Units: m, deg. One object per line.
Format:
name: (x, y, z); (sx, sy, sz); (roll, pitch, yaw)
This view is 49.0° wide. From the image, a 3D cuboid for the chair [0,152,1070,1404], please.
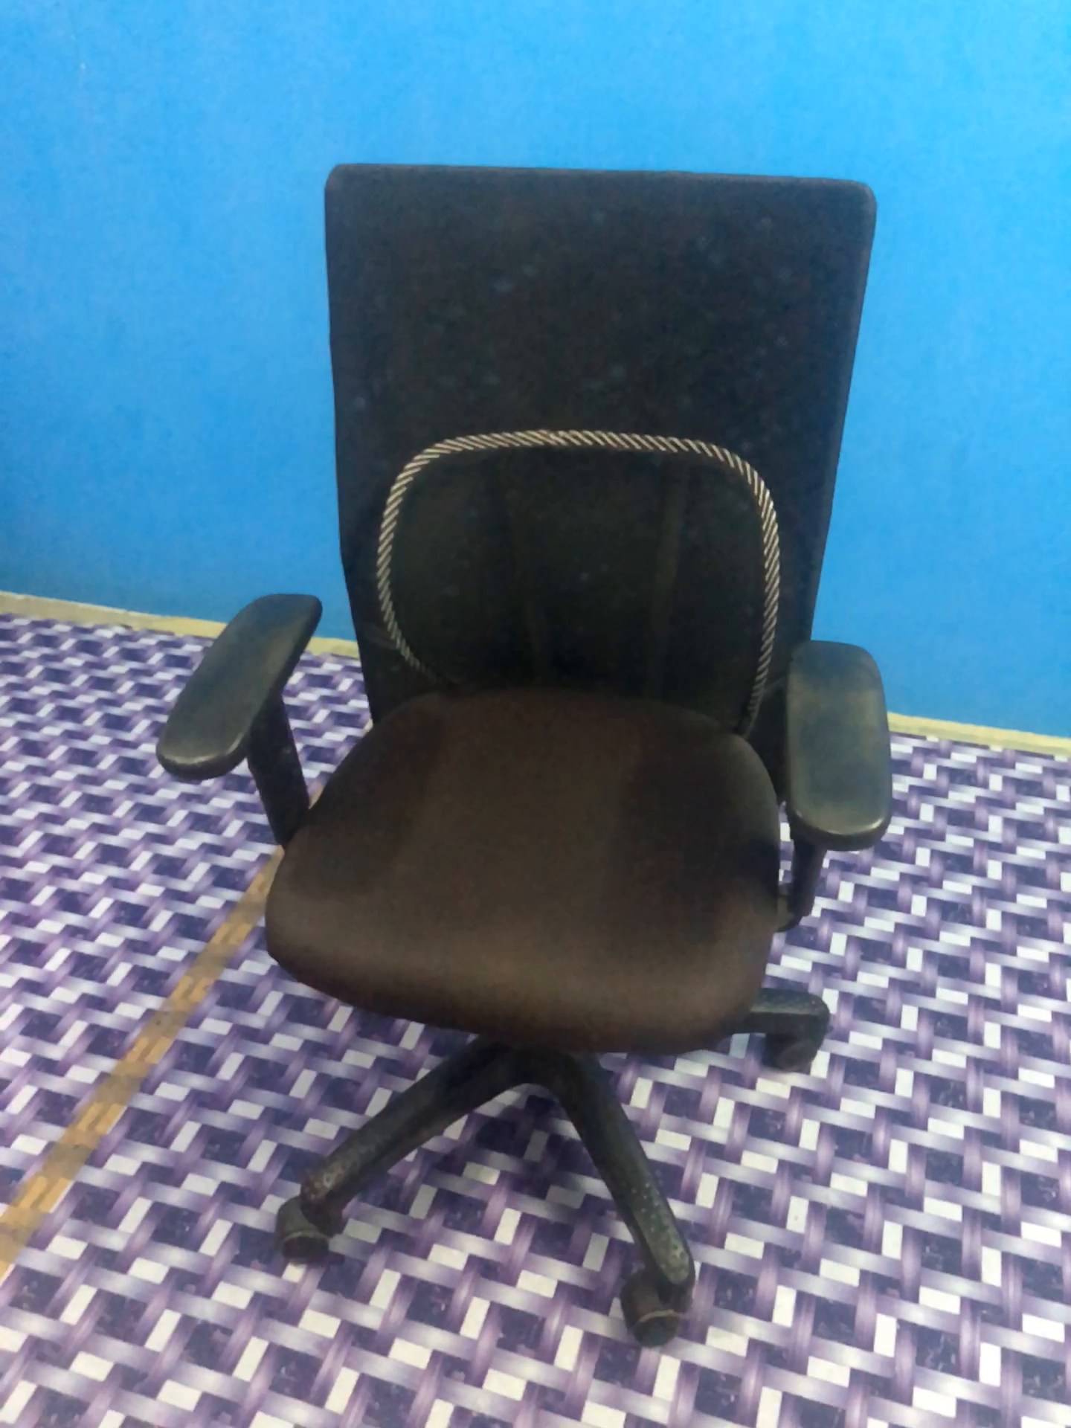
chair: (0.020, 0.022, 1.103); (0.660, 0.885, 0.674); (5, 35, 10)
